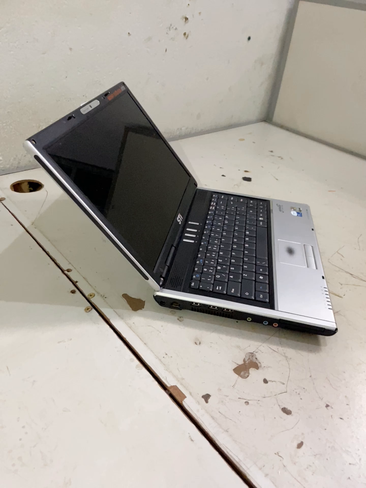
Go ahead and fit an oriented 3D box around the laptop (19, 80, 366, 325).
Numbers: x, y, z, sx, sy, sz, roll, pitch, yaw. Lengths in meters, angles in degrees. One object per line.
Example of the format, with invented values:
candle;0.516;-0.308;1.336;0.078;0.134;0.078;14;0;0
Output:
laptop;0.039;-0.096;0.562;0.386;0.167;0.327;12;34;4
